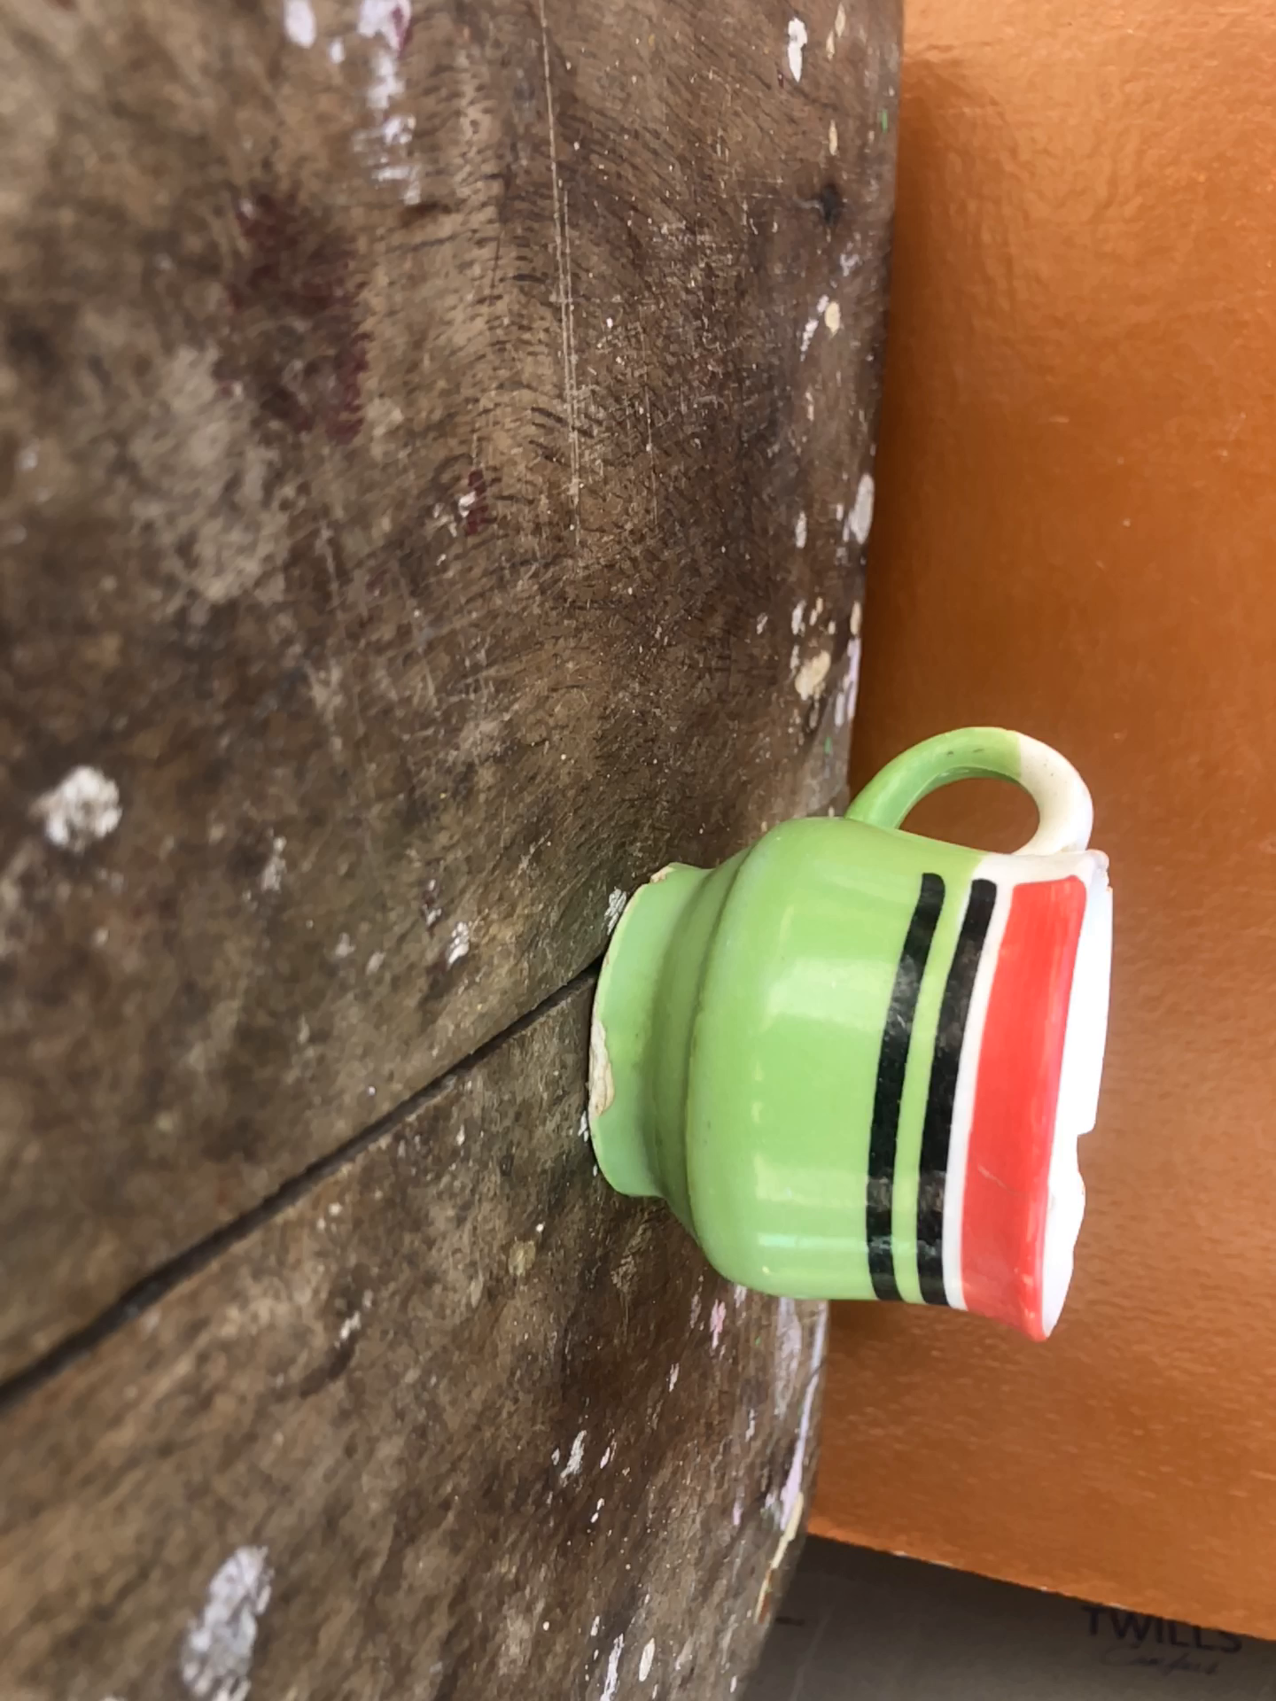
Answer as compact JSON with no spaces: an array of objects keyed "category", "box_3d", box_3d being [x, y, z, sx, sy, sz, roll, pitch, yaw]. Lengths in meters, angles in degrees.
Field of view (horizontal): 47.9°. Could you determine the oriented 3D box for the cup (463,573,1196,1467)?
[{"category":"cup","box_3d":[0.034,0.015,0.192,0.090,0.070,0.070,-63,150,-48]}]
